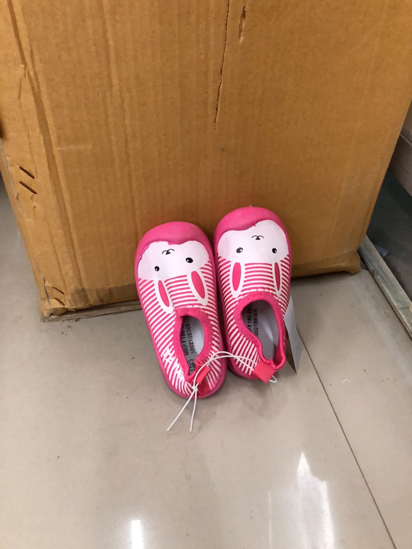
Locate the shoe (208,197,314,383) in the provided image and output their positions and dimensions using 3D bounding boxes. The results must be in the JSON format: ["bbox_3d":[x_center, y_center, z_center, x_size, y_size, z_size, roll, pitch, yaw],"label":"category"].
[{"bbox_3d":[0.045,0.015,0.420,0.069,0.082,0.148,-6,85,-2],"label":"shoe"}]

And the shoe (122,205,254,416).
[{"bbox_3d":[-0.021,0.030,0.404,0.069,0.082,0.156,-13,85,-12],"label":"shoe"}]
